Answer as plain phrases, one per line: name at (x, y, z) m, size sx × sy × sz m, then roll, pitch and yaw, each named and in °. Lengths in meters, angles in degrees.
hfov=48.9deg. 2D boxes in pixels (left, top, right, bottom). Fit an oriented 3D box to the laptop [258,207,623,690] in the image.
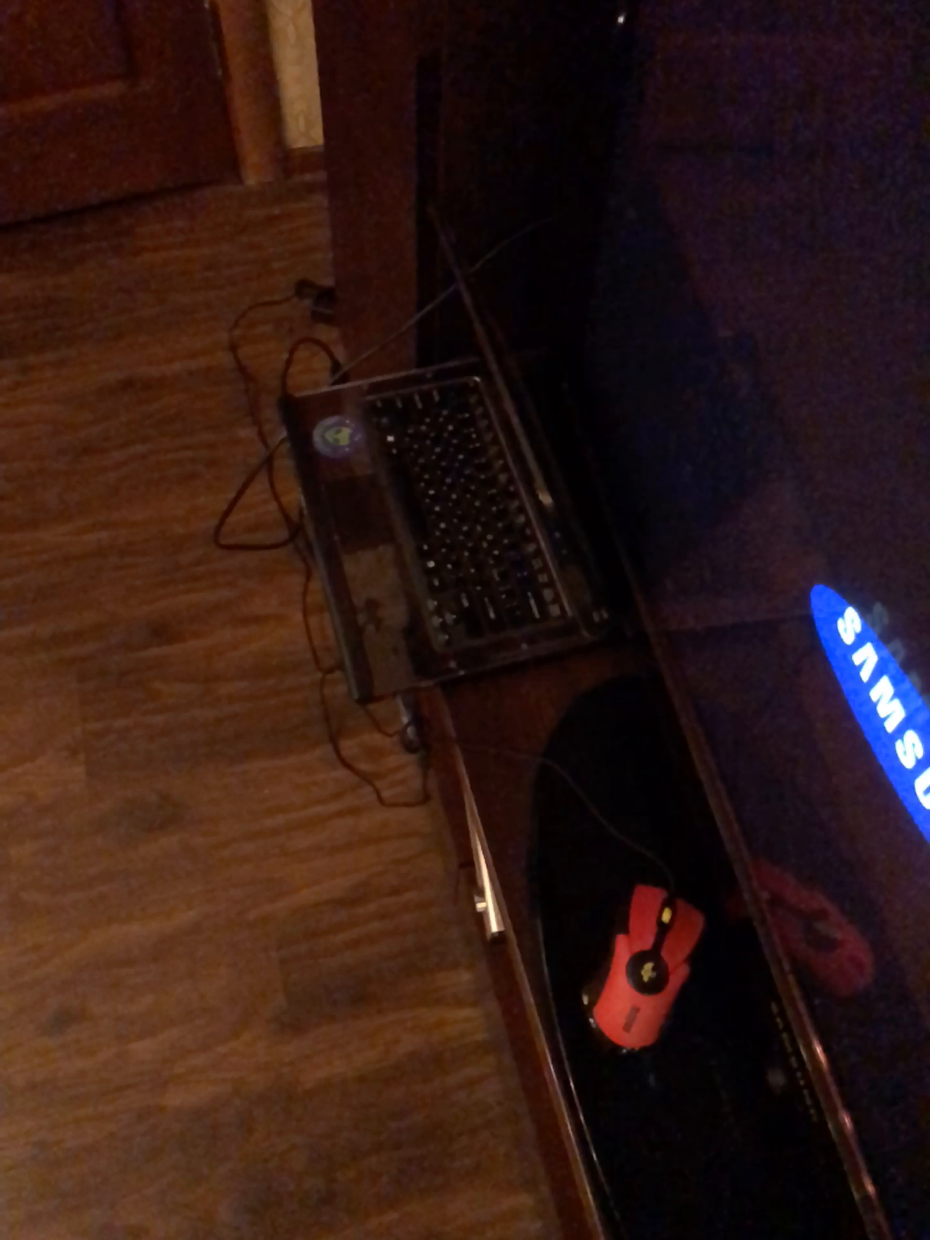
laptop at (-0.035, -0.151, 0.870) m, size 0.200 × 0.183 × 0.336 m, roll -12°, pitch 61°, yaw -11°
